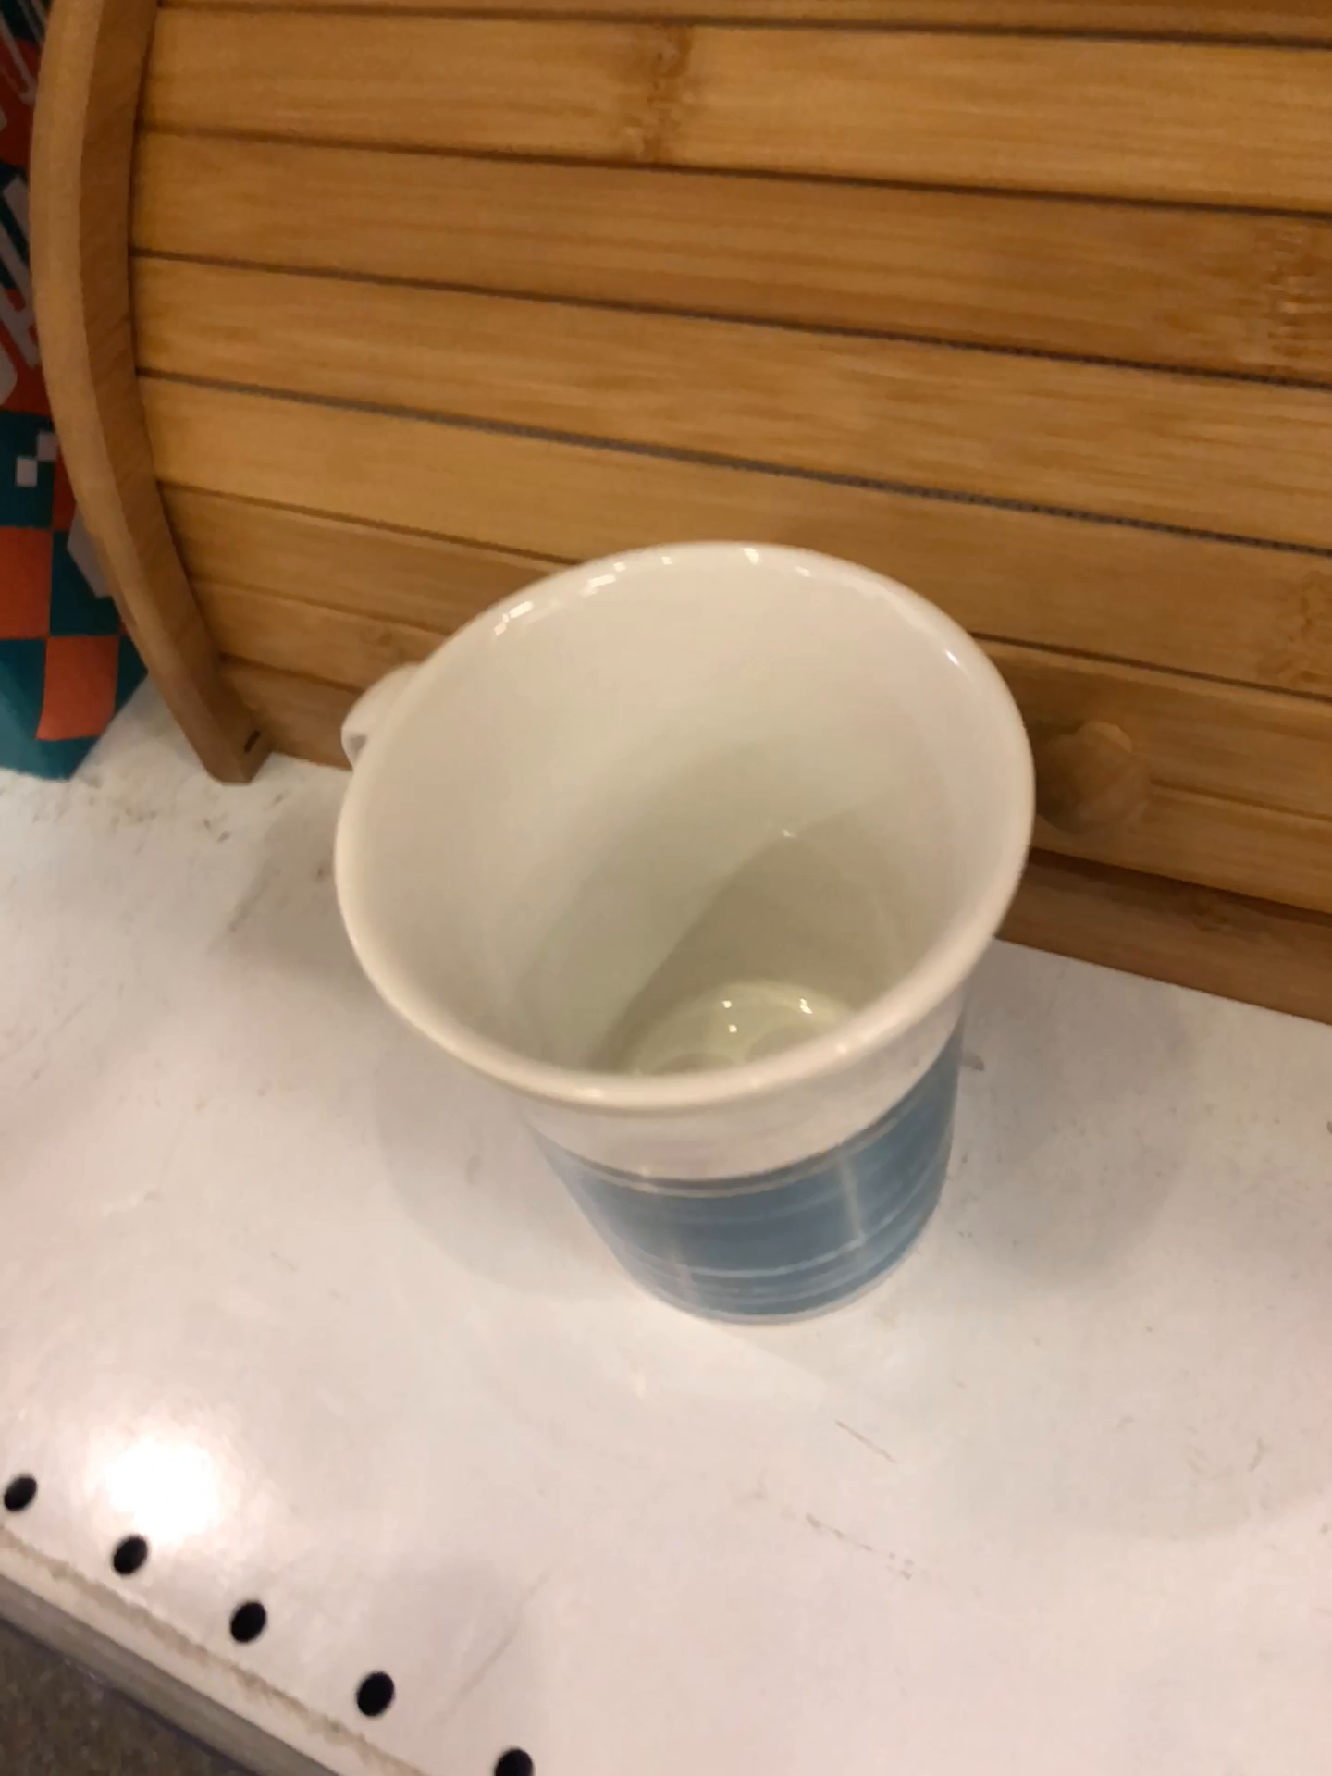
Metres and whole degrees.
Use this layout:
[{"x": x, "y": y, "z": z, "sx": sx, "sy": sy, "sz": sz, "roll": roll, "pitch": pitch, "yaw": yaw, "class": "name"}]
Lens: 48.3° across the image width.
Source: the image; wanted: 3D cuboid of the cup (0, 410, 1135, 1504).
[{"x": -0.010, "y": 0.007, "z": 0.222, "sx": 0.120, "sy": 0.089, "sz": 0.090, "roll": 26, "pitch": 64, "yaw": 26, "class": "cup"}]
